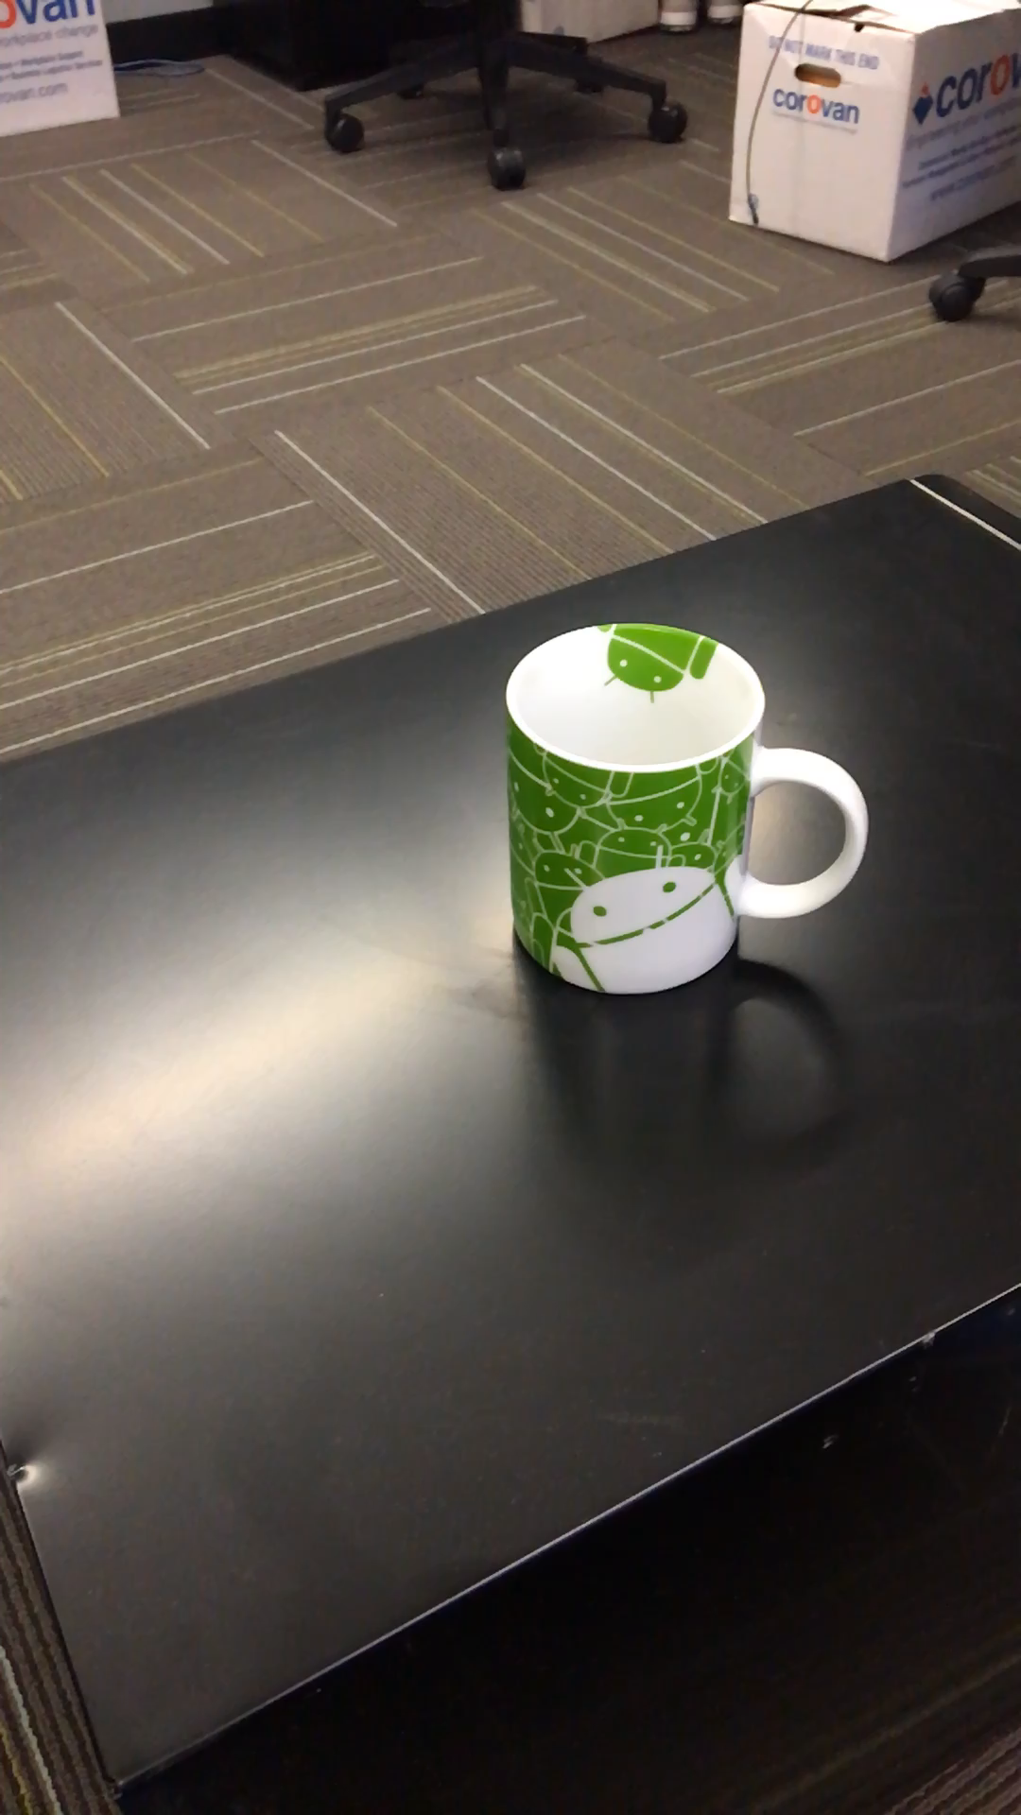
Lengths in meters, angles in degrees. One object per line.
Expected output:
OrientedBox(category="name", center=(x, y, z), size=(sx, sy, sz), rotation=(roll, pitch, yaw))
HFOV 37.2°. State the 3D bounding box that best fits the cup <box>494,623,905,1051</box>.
OrientedBox(category="cup", center=(0.060, -0.024, 0.515), size=(0.120, 0.110, 0.090), rotation=(2, 42, 4))
